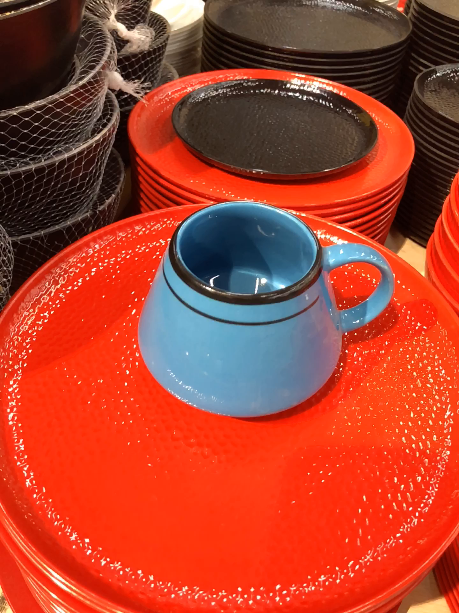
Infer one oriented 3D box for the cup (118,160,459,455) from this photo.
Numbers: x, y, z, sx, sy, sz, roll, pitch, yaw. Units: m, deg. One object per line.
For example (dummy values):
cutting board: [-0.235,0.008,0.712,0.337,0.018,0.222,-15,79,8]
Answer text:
cup: [0.019,-0.005,0.267,0.140,0.089,0.111,-6,44,-9]
